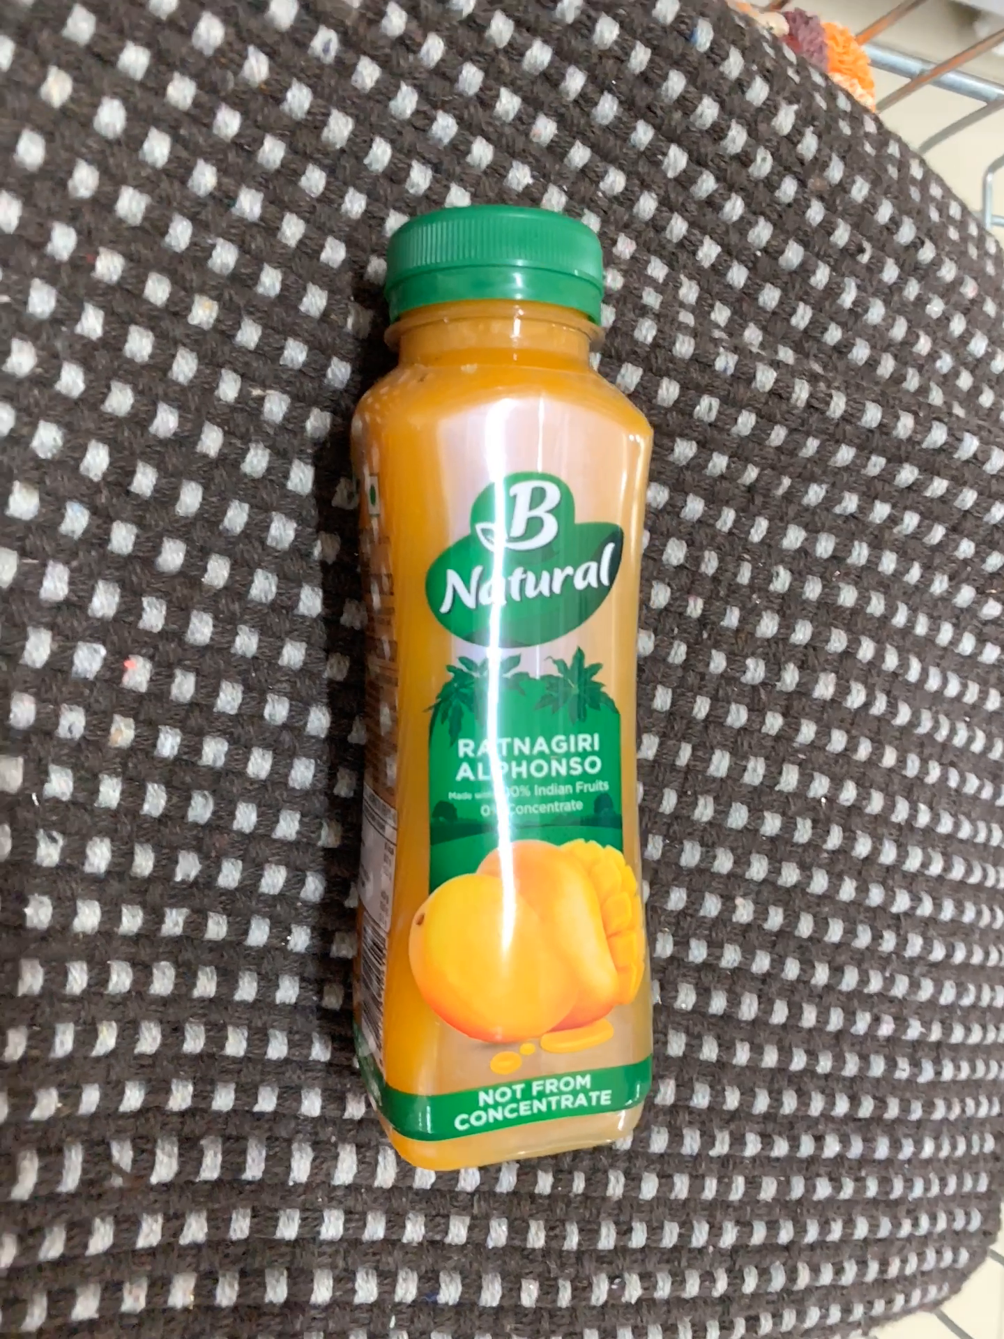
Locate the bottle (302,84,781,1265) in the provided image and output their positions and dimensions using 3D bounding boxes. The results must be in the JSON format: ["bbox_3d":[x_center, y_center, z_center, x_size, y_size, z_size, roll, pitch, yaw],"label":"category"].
[{"bbox_3d":[0.002,0.003,0.174,0.060,0.050,0.160,0,96,-21],"label":"bottle"}]
